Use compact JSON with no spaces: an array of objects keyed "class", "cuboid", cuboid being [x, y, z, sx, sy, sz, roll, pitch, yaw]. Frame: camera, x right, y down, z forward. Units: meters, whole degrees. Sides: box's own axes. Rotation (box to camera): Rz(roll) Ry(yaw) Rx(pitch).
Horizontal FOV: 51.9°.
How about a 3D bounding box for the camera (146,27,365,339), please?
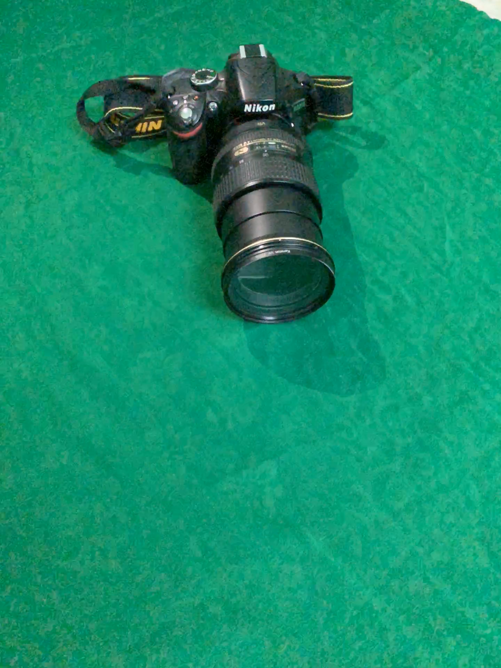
[{"class":"camera","cuboid":[-0.009,-0.125,0.400,0.122,0.088,0.235,-6,59,-5]}]
